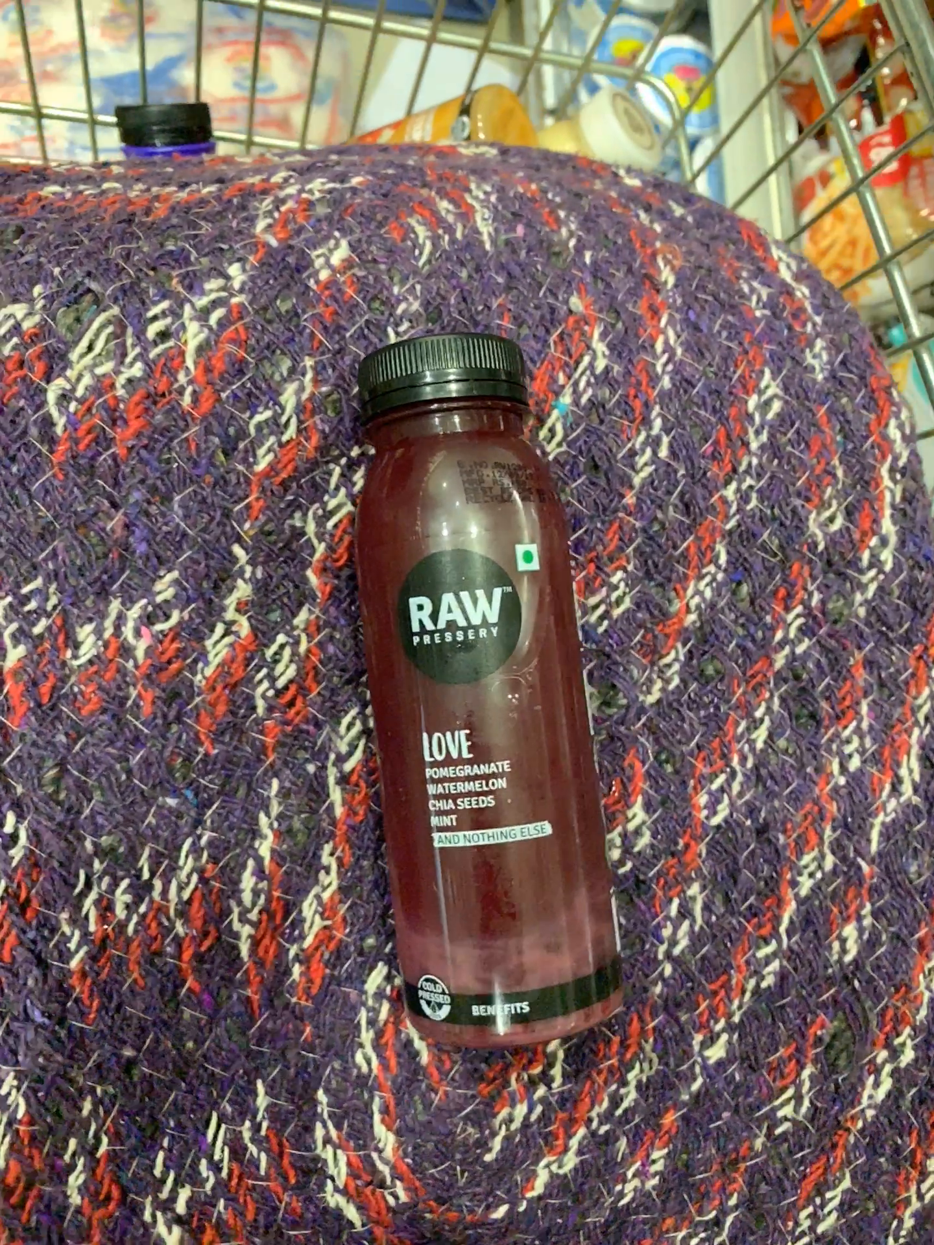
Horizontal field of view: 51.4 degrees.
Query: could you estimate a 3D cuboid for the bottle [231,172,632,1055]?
[{"bbox_3d":[-0.006,-0.001,0.223,0.060,0.060,0.170,-8,87,5],"label":"bottle"}]
